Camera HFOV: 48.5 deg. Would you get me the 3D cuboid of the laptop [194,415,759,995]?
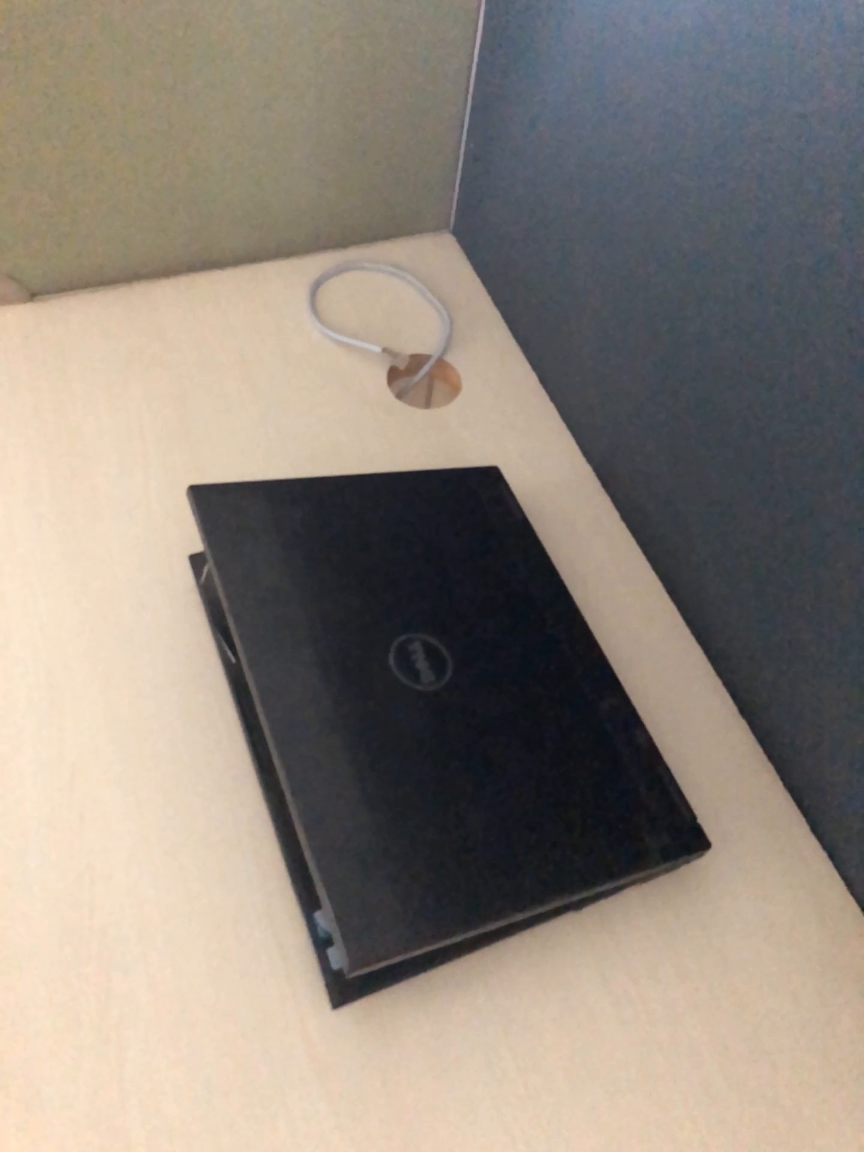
[{"bbox_3d":[0.009,0.056,0.591,0.230,0.064,0.303,-17,59,-15],"label":"laptop"}]
